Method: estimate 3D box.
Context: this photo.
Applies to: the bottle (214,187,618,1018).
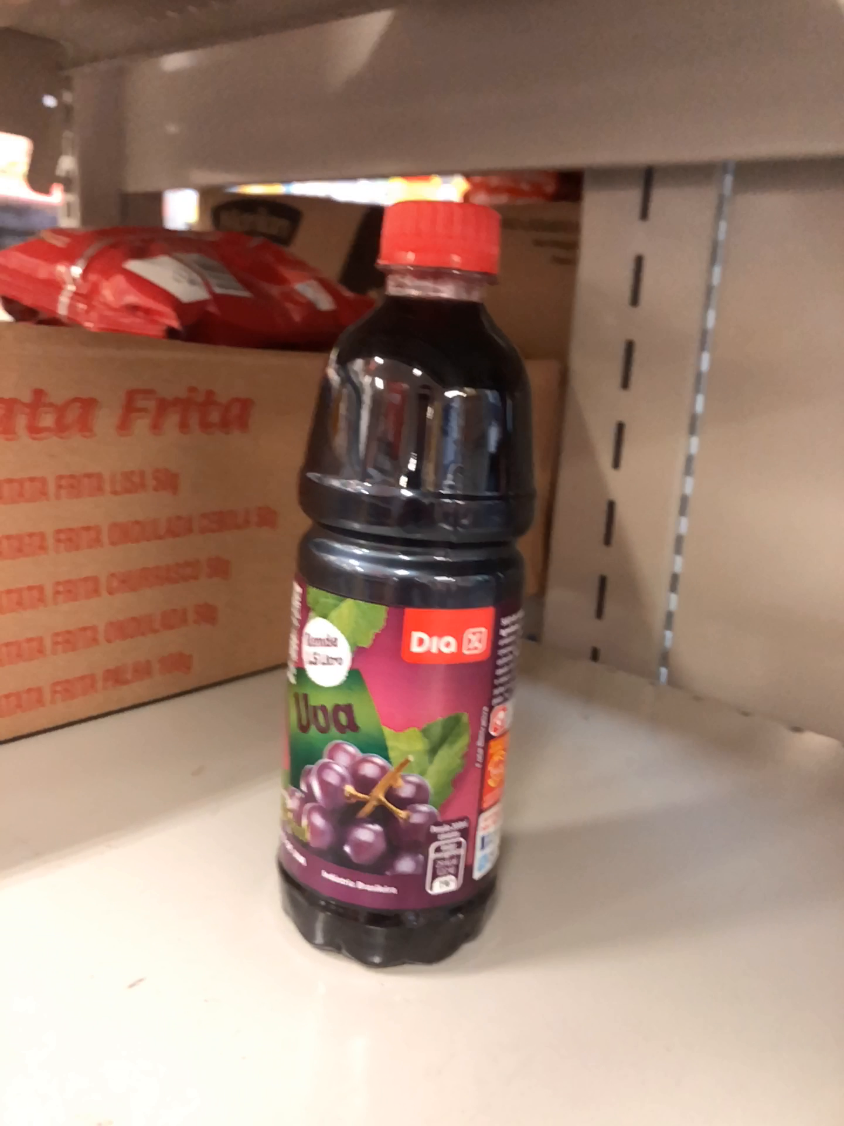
[{"bbox_3d":[-0.004,0.006,0.264,0.080,0.199,0.070,10,16,25],"label":"bottle"}]
